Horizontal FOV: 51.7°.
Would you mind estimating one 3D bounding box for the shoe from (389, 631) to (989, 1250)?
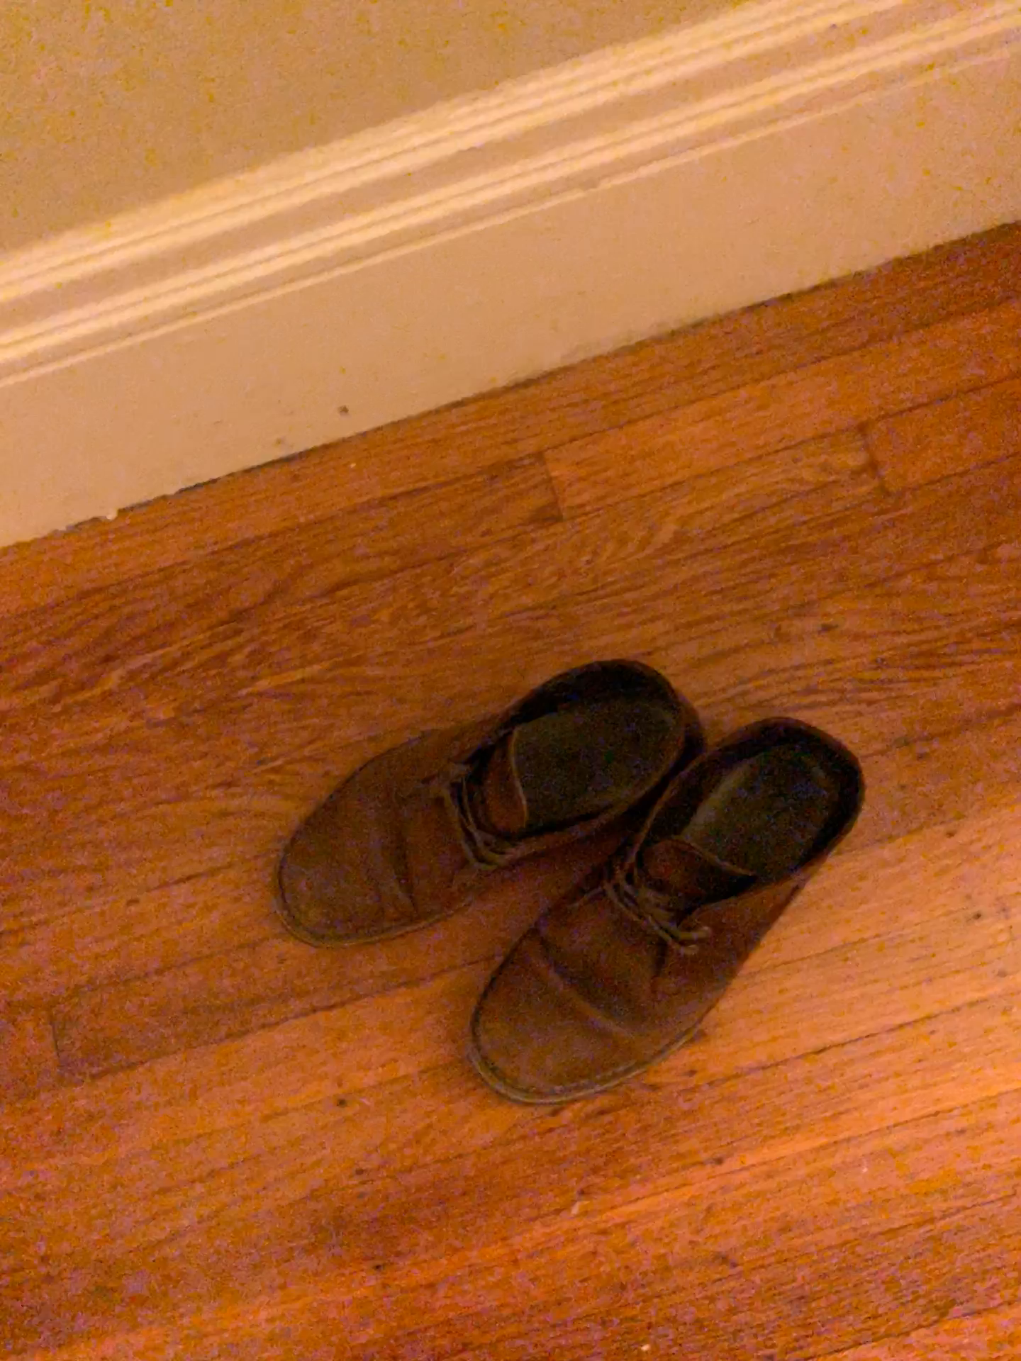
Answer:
[{"bbox_3d":[0.093,0.133,0.578,0.120,0.120,0.300,44,86,13],"label":"shoe"}]

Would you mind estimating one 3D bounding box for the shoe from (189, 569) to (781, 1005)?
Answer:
[{"bbox_3d":[-0.012,0.066,0.613,0.290,0.120,0.120,-25,77,1],"label":"shoe"}]
